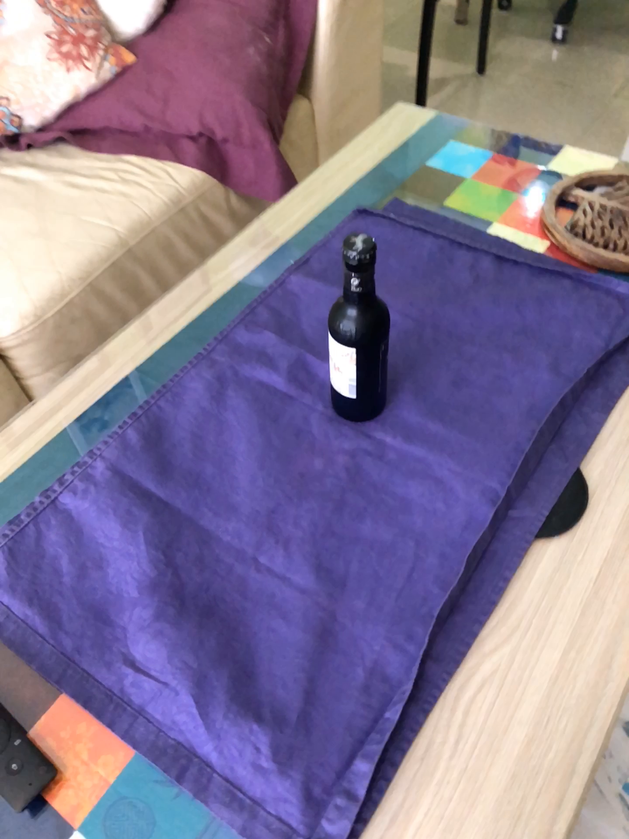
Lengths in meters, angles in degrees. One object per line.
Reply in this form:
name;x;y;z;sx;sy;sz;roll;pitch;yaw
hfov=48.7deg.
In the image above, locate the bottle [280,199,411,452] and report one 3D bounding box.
bottle;0.027;-0.073;0.594;0.070;0.199;0.070;-2;49;2
